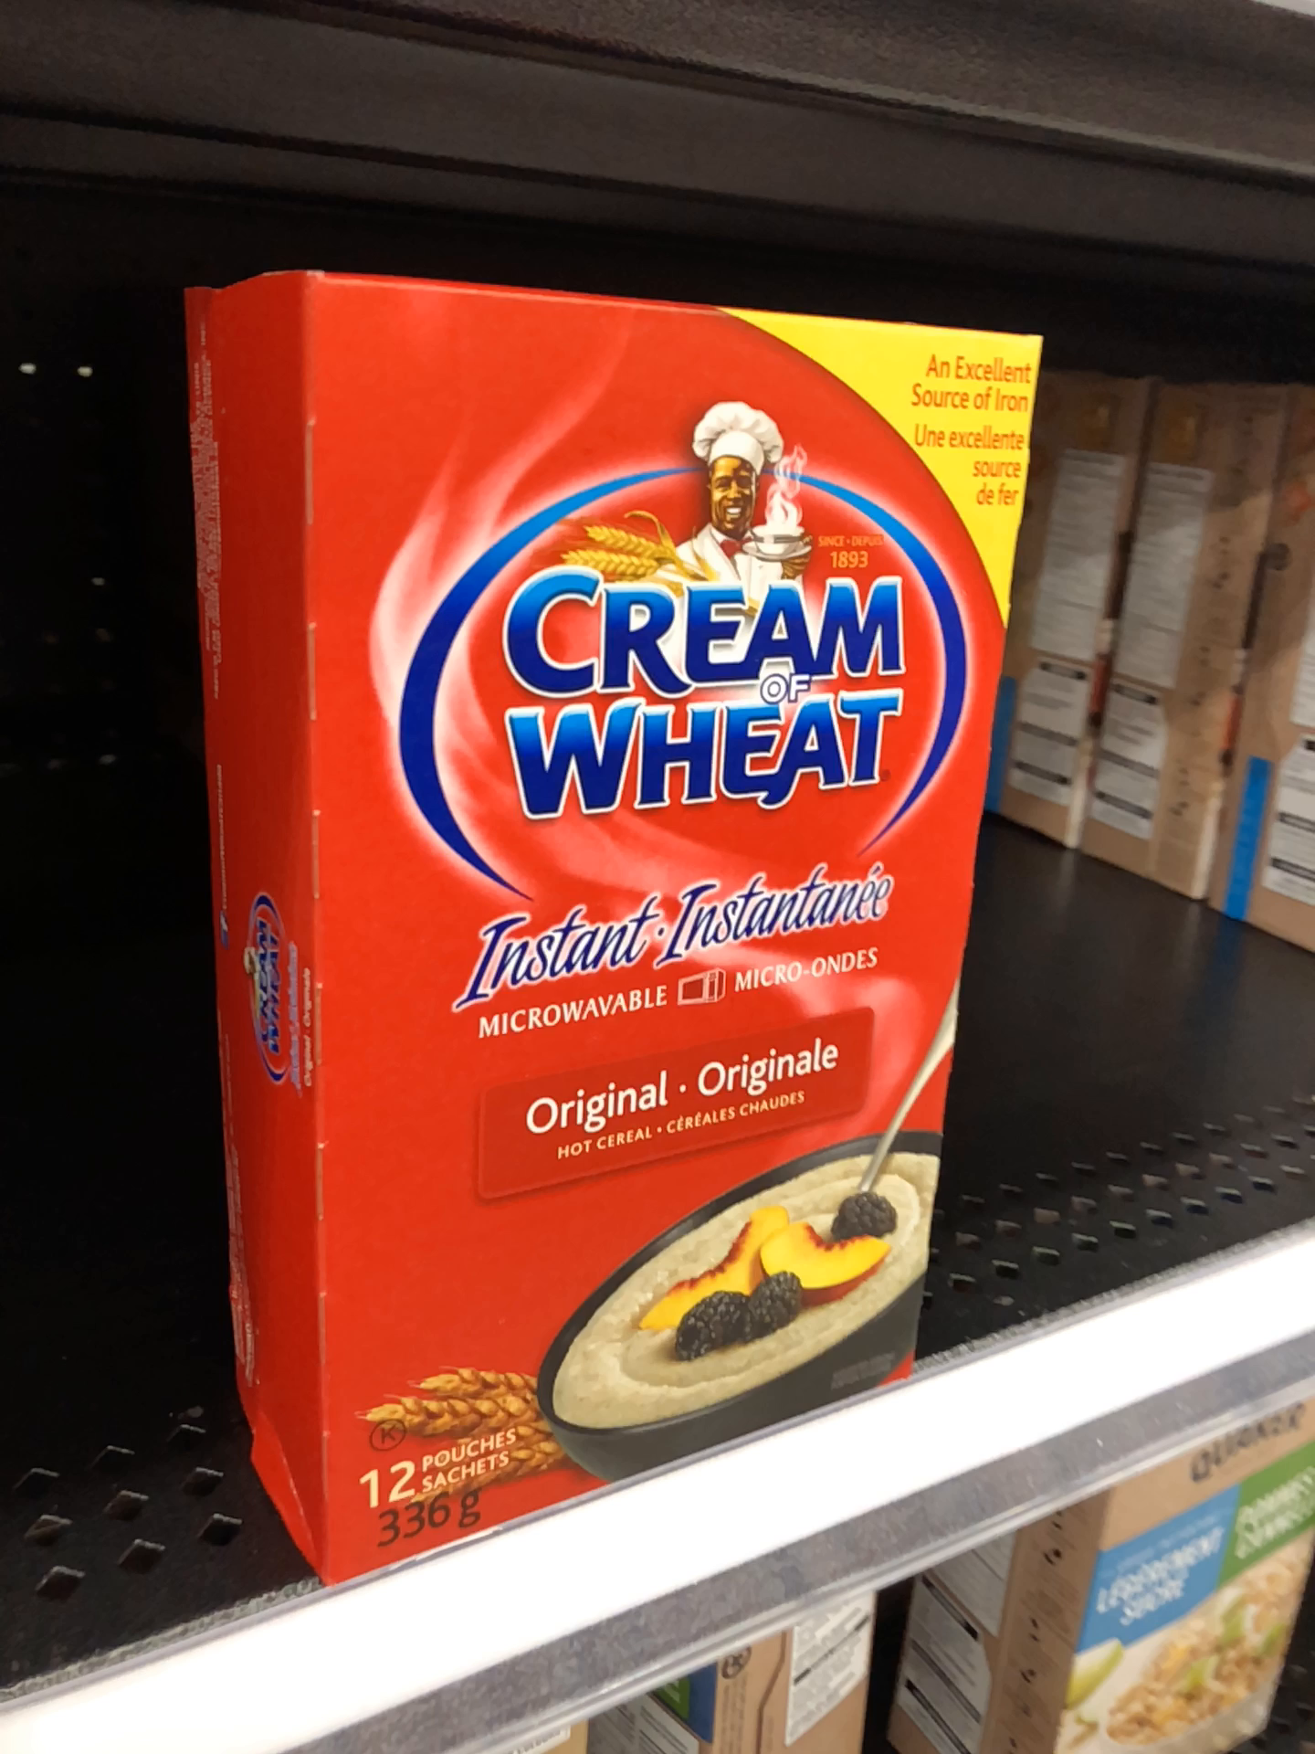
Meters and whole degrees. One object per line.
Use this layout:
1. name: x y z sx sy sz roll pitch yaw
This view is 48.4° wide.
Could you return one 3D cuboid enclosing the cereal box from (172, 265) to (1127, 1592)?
1. cereal box: -0.005 0.003 0.249 0.130 0.189 0.060 -8 22 -29
